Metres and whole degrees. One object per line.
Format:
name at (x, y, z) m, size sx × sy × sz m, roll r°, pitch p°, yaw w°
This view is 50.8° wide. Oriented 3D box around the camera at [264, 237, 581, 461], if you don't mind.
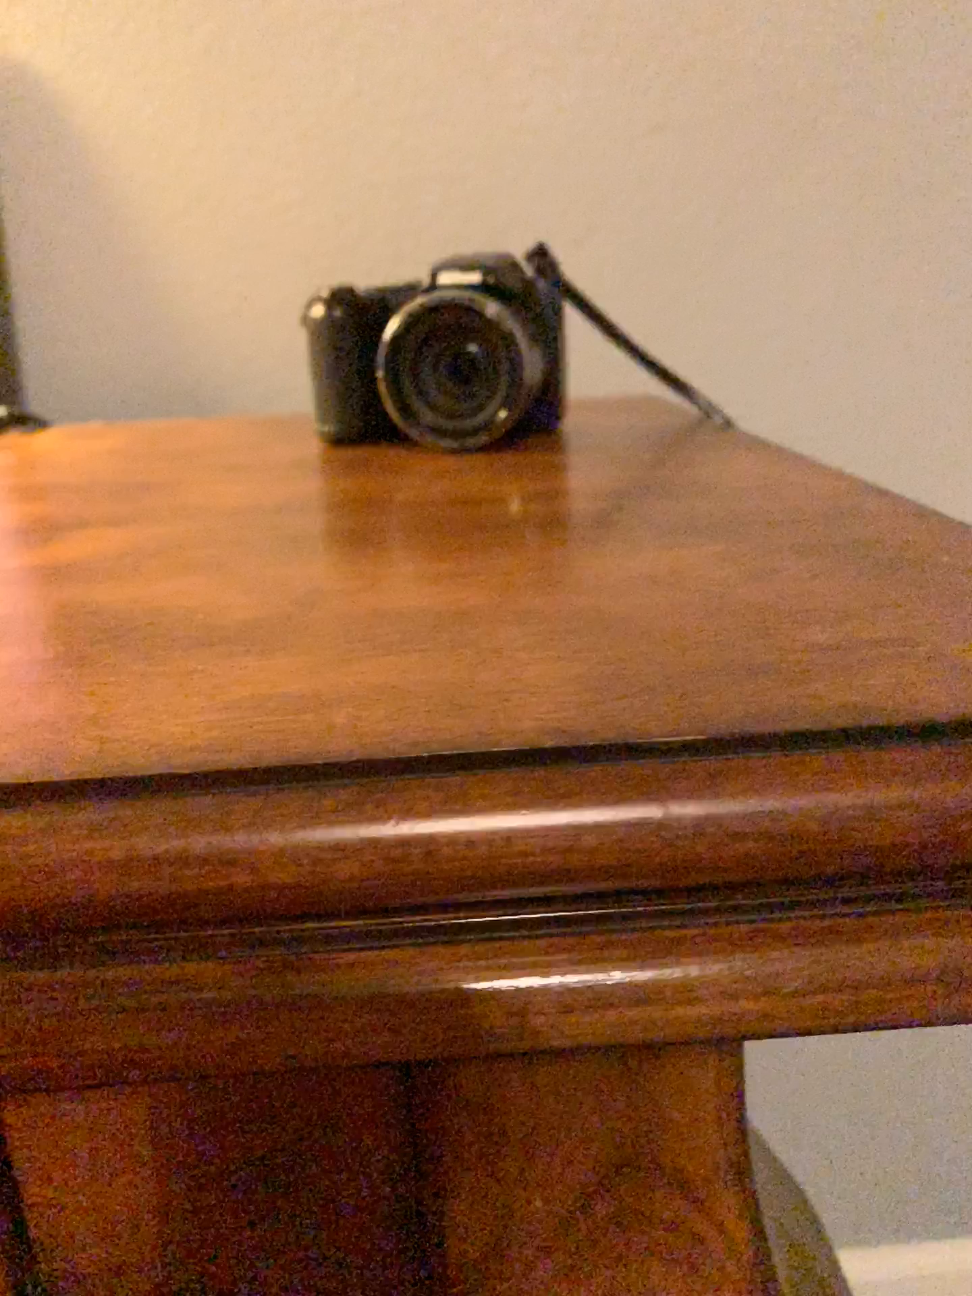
camera at (-0.021, -0.137, 0.470) m, size 0.110 × 0.081 × 0.123 m, roll 1°, pitch 18°, yaw 13°
